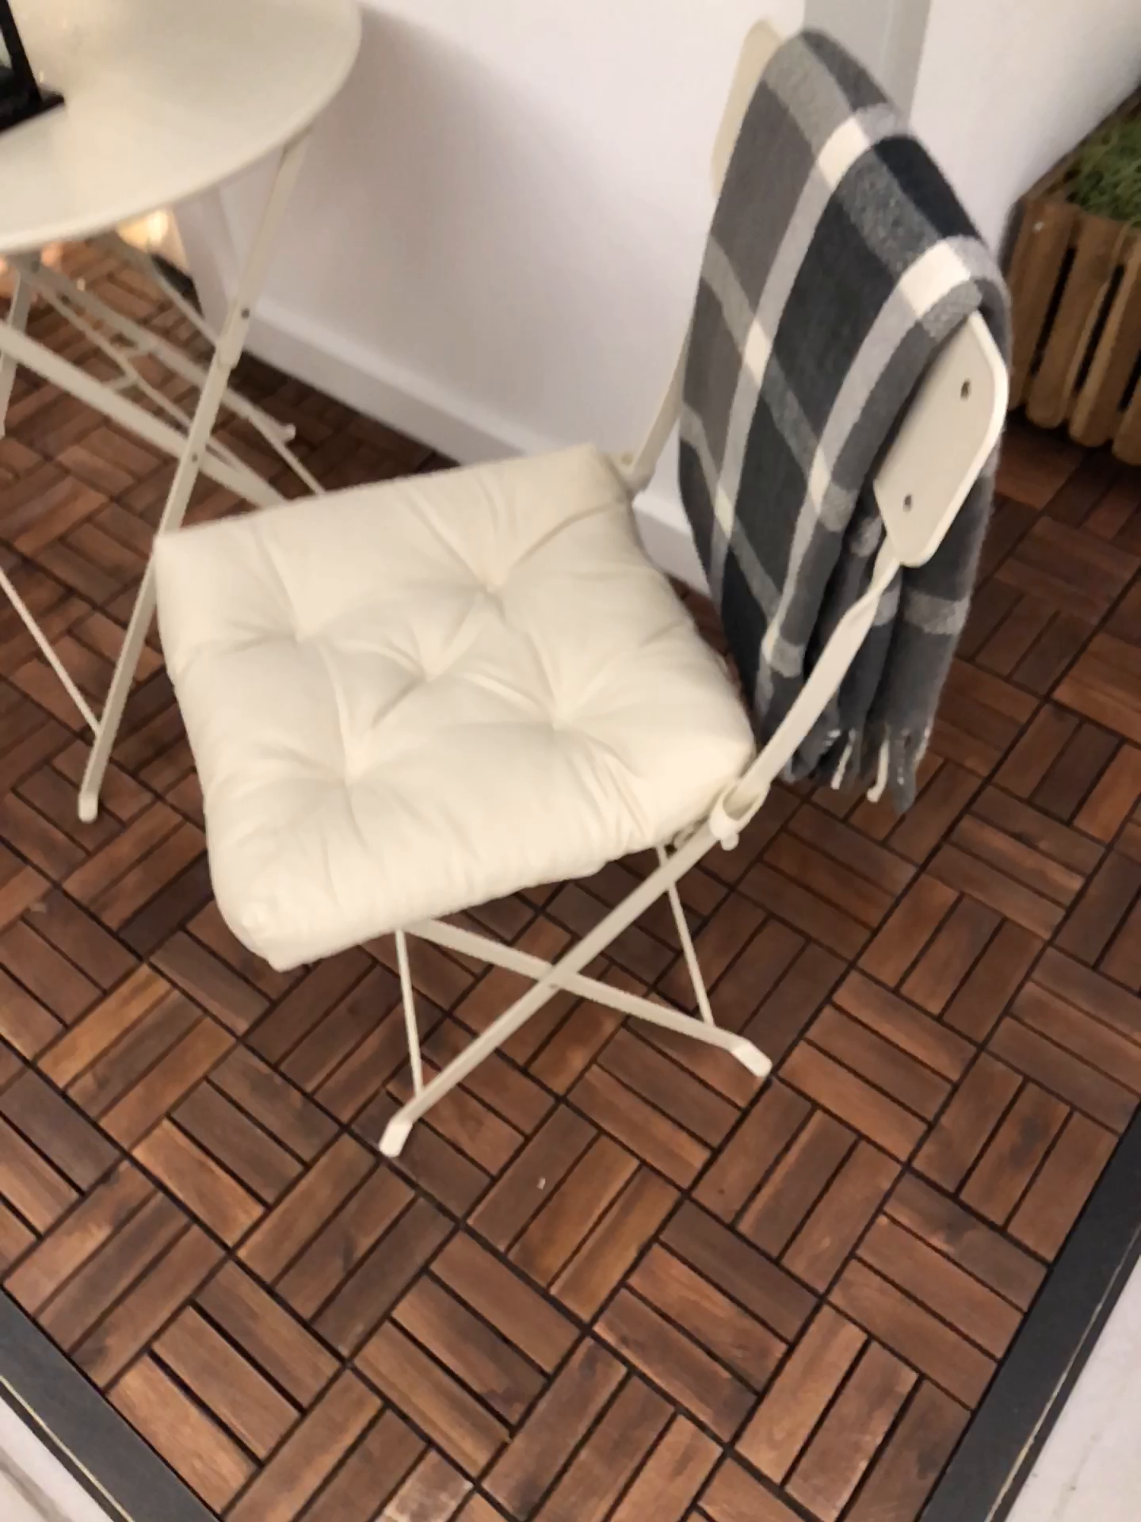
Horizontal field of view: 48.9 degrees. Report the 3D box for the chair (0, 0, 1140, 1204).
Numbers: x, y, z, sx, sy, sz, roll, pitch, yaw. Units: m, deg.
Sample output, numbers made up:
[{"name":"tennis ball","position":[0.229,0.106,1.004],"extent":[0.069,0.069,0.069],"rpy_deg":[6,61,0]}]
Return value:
[{"name":"chair","position":[-0.044,-0.086,0.930],"extent":[0.510,0.736,0.493],"rpy_deg":[-10,53,-5]}]
